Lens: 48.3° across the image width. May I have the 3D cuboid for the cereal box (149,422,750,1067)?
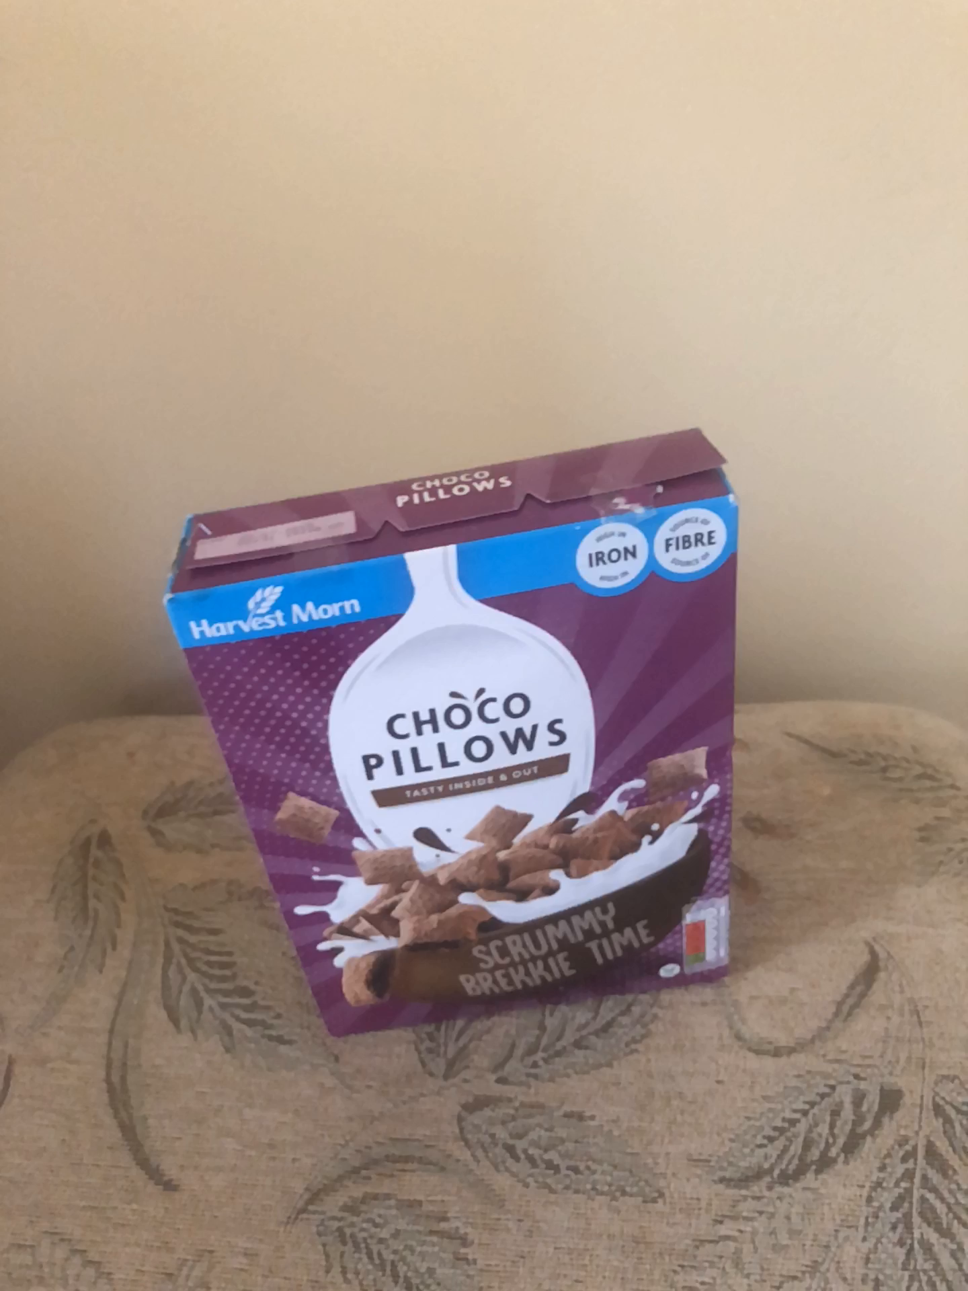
[{"bbox_3d":[-0.001,0.059,0.463,0.200,0.278,0.060,-10,39,-4],"label":"cereal box"}]
